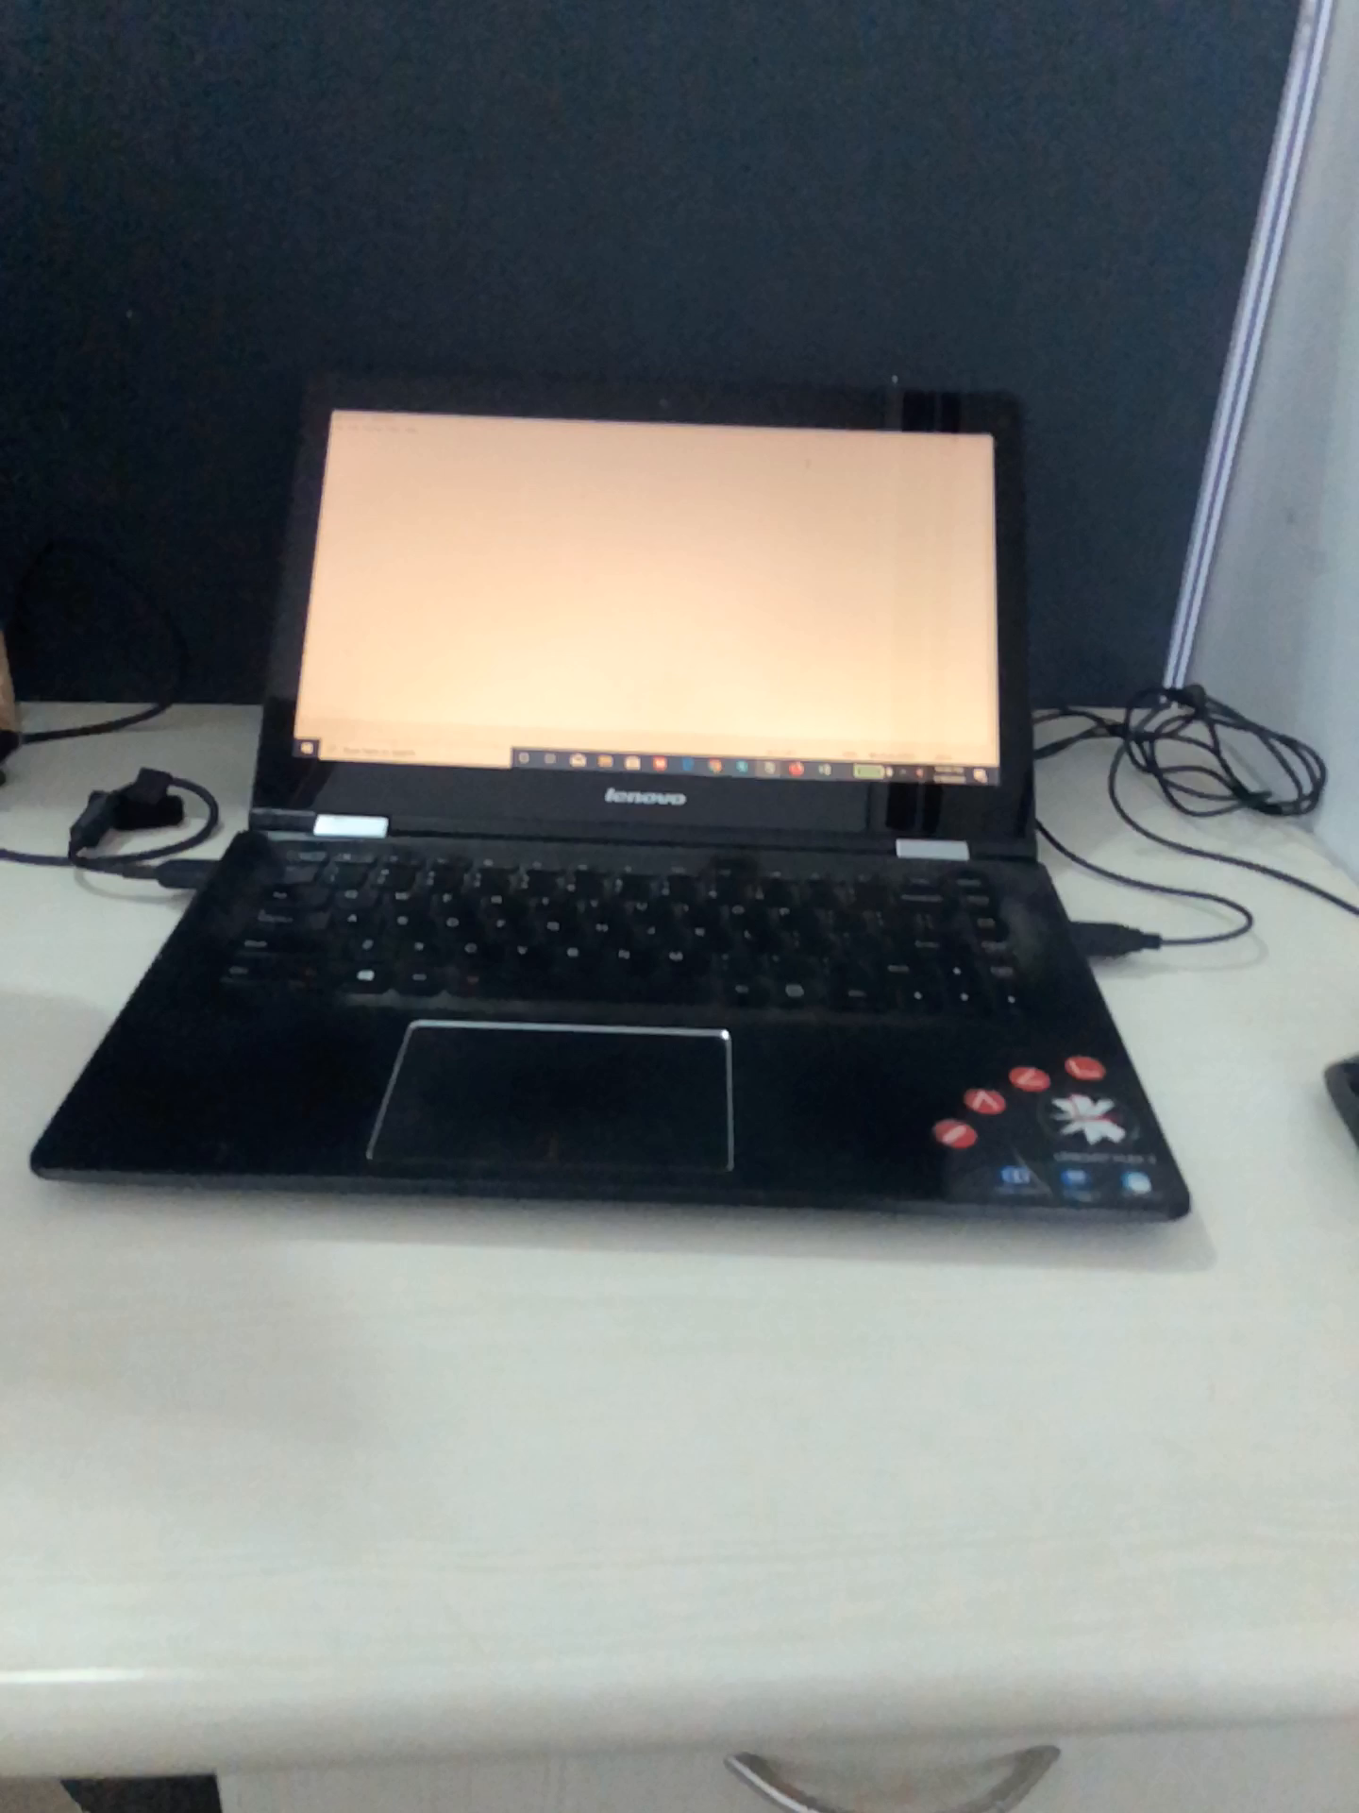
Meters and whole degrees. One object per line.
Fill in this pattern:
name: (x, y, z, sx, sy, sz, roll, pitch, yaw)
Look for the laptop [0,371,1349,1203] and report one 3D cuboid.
laptop: (-0.013, -0.083, 0.560, 0.334, 0.170, 0.387, 2, 26, 0)
